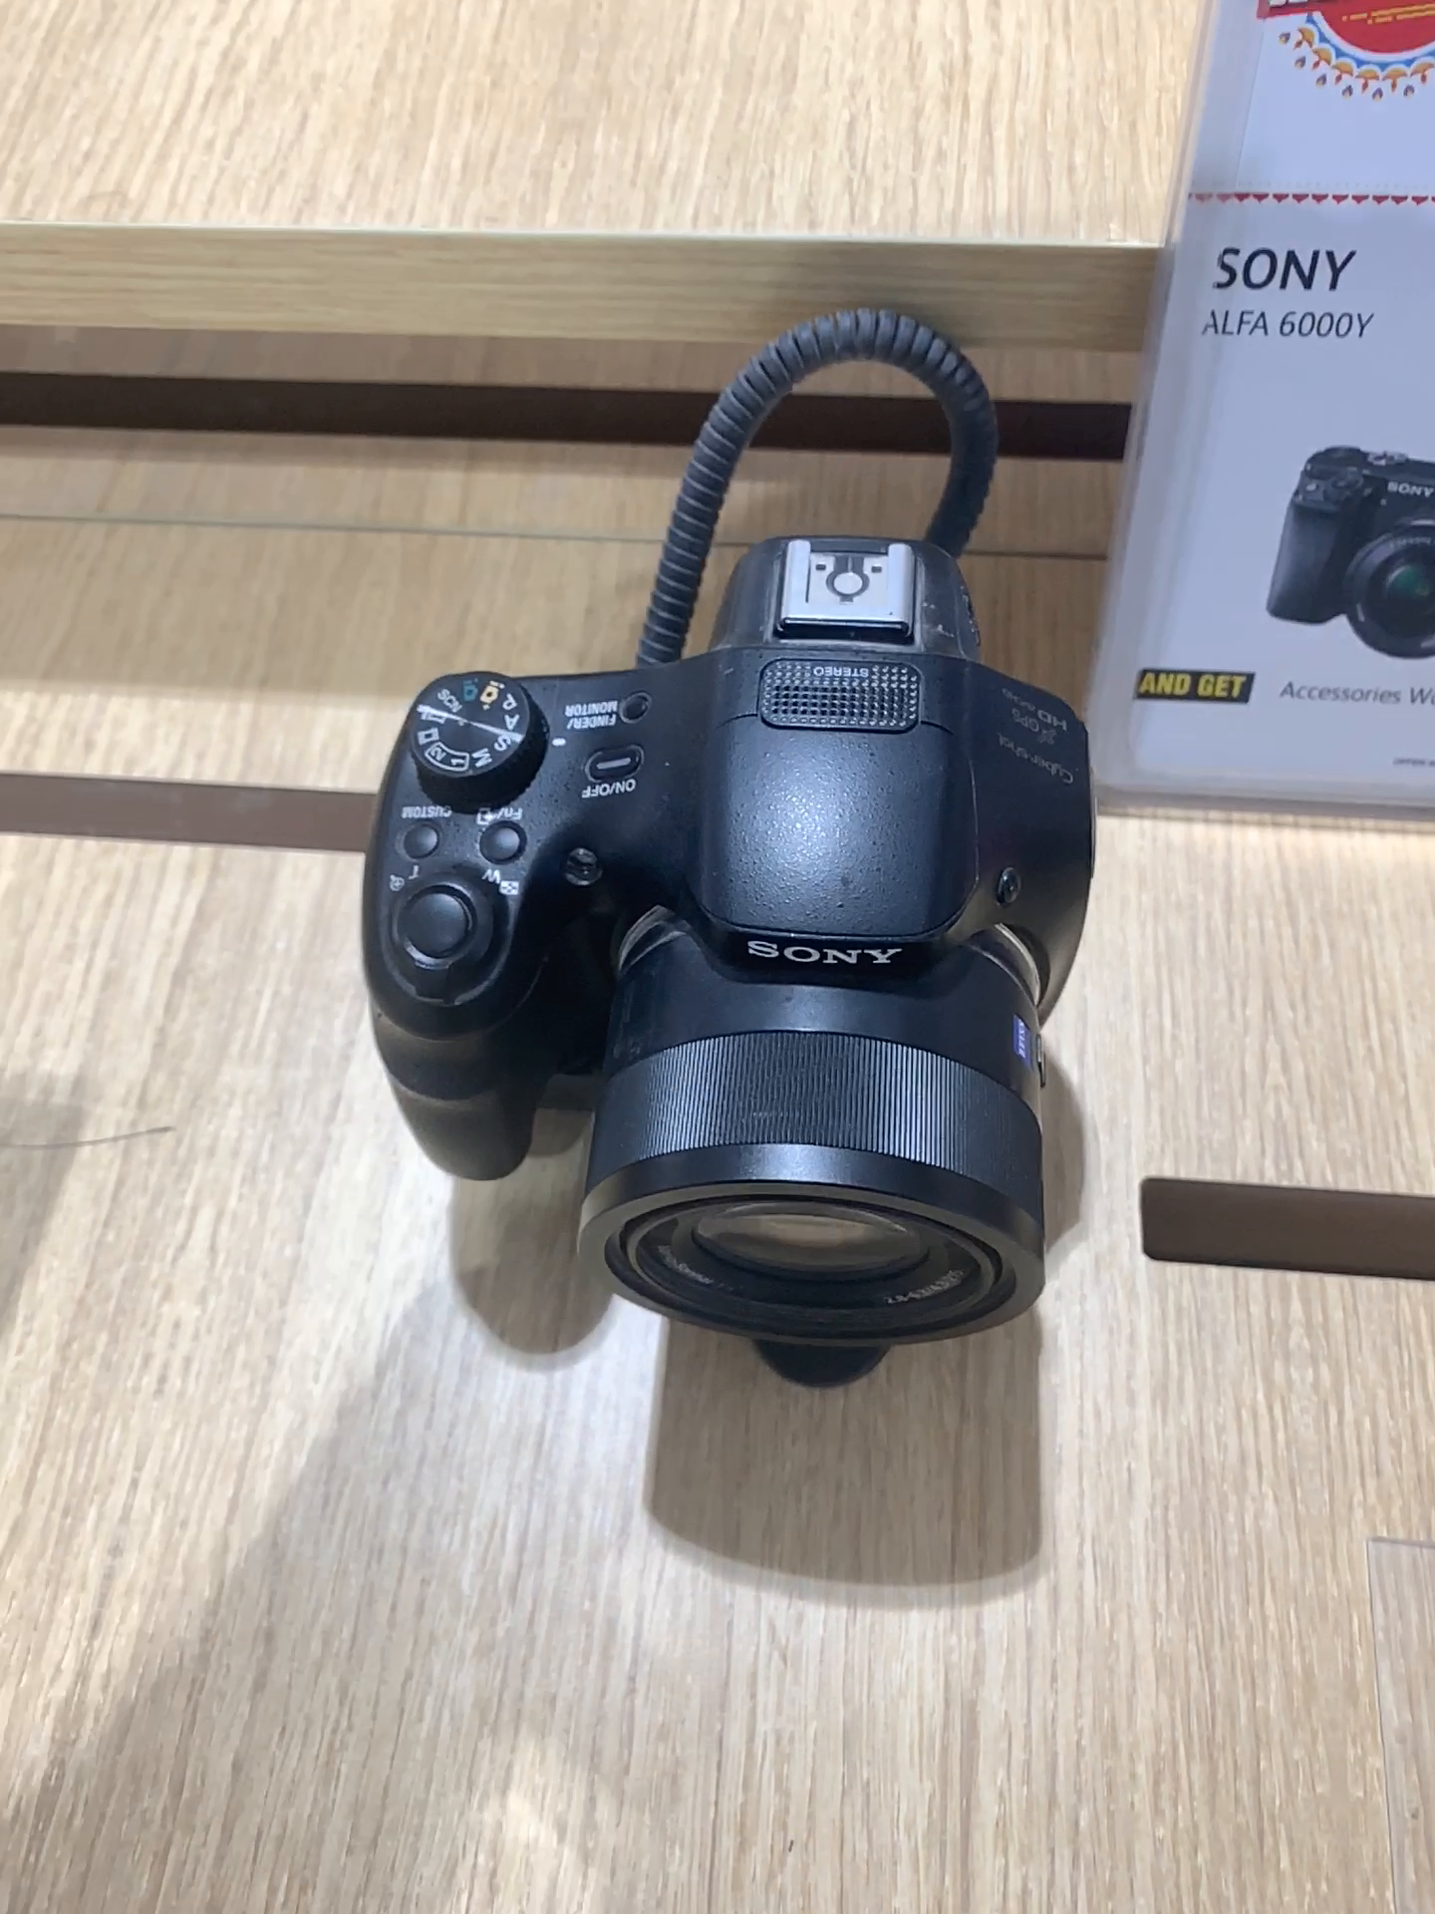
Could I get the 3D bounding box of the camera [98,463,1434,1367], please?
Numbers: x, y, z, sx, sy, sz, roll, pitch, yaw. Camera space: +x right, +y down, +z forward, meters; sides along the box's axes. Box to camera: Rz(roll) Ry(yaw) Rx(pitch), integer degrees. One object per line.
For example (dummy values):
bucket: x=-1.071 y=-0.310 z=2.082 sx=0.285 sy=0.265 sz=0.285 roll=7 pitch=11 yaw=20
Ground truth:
camera: x=0.008 y=-0.001 z=0.222 sx=0.140 sy=0.100 sz=0.090 roll=2 pitch=61 yaw=4
